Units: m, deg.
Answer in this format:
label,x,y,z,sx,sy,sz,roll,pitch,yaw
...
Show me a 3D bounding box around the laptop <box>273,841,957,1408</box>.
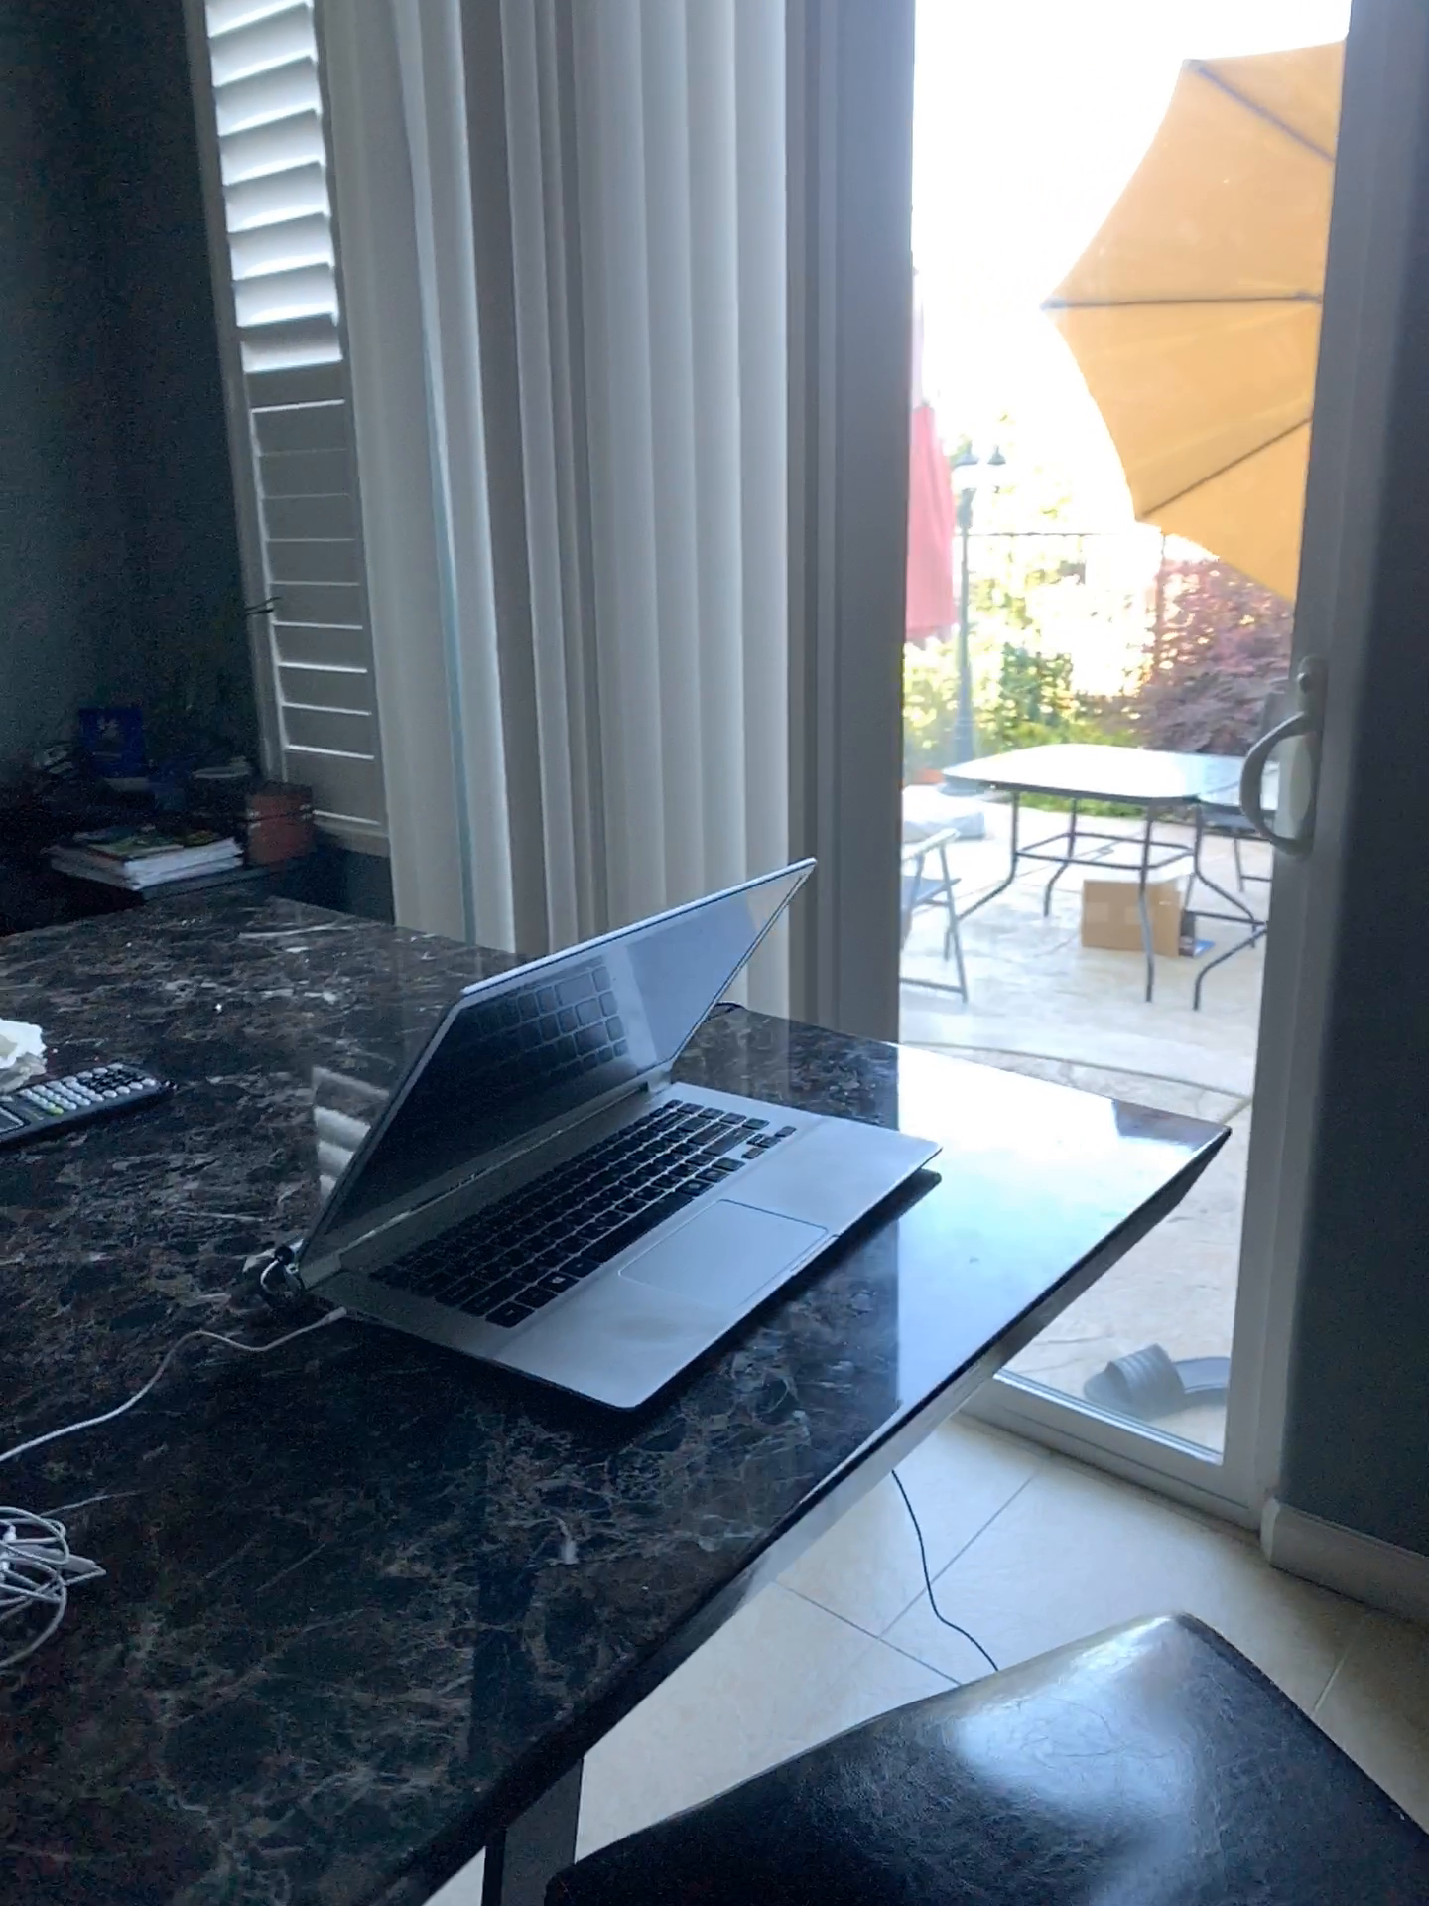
label,x,y,z,sx,sy,sz,roll,pitch,yaw
laptop,-0.039,0.070,0.894,0.234,0.188,0.362,10,19,32
